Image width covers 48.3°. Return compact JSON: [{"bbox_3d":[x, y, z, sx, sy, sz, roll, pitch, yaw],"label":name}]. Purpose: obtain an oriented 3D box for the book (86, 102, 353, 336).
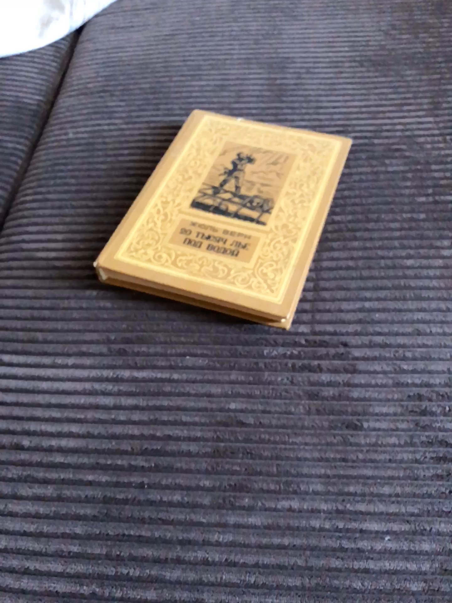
[{"bbox_3d":[0.006,-0.089,0.454,0.170,0.029,0.220,16,57,12],"label":"book"}]
